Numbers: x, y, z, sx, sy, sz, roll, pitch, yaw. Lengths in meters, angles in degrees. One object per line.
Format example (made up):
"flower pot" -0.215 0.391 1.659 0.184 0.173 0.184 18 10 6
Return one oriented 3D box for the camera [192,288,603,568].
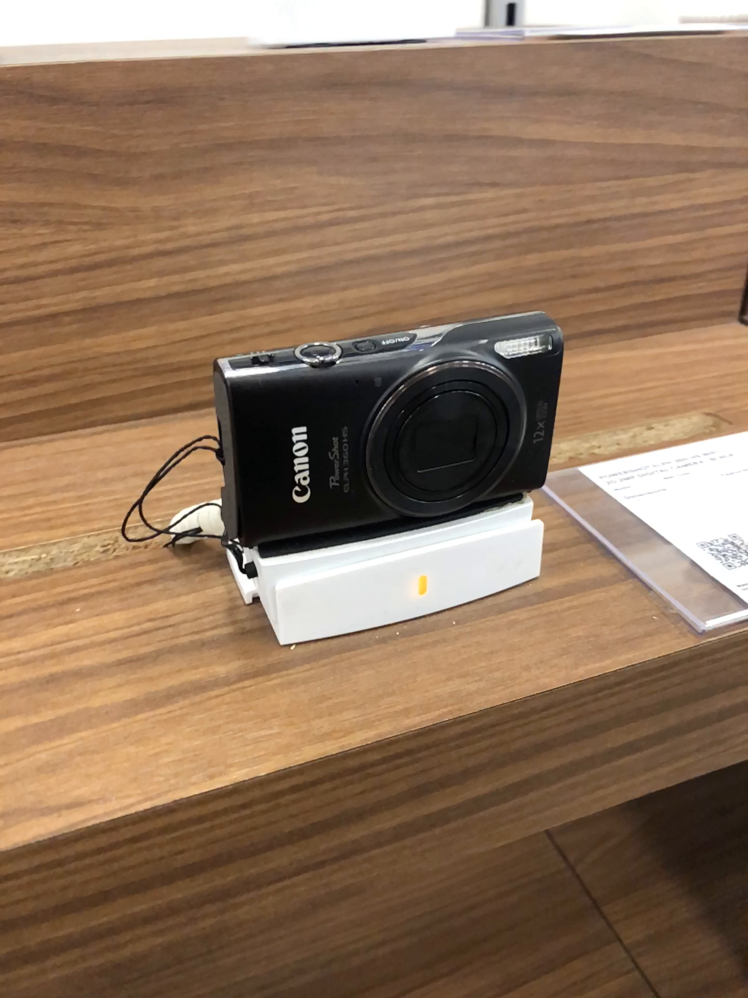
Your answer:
"camera" 0.008 -0.022 0.239 0.110 0.060 0.020 -11 35 -18
